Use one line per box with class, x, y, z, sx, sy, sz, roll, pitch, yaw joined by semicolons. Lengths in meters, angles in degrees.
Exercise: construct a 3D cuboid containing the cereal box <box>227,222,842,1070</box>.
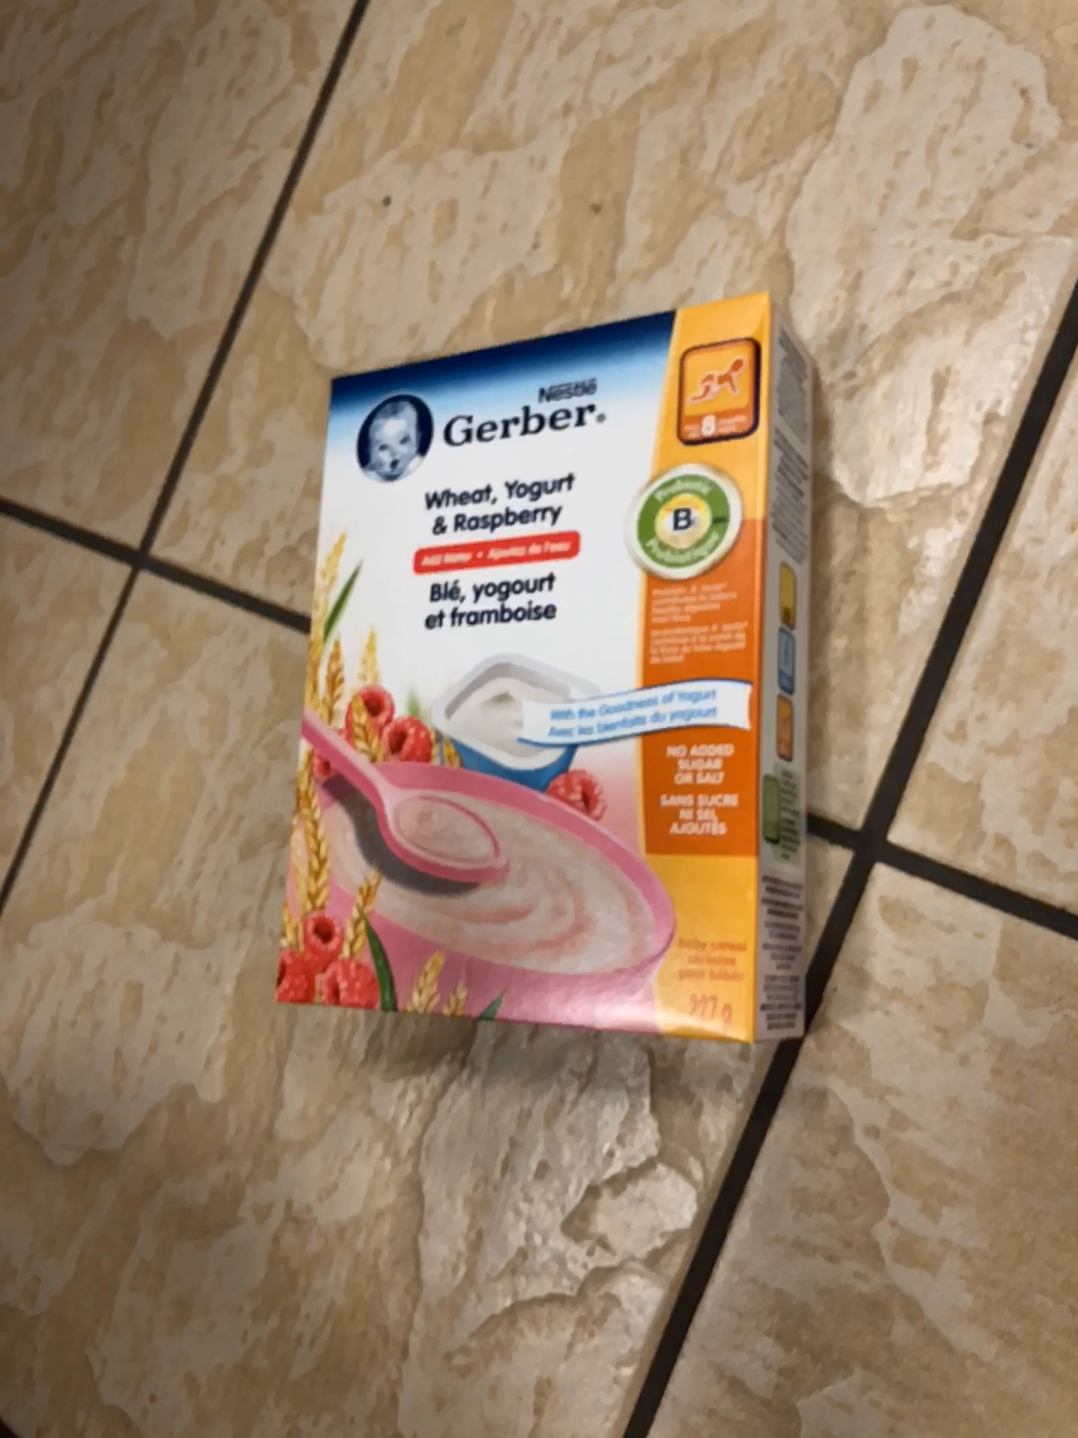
cereal box;0.000;-0.016;0.348;0.161;0.050;0.210;-3;77;28
